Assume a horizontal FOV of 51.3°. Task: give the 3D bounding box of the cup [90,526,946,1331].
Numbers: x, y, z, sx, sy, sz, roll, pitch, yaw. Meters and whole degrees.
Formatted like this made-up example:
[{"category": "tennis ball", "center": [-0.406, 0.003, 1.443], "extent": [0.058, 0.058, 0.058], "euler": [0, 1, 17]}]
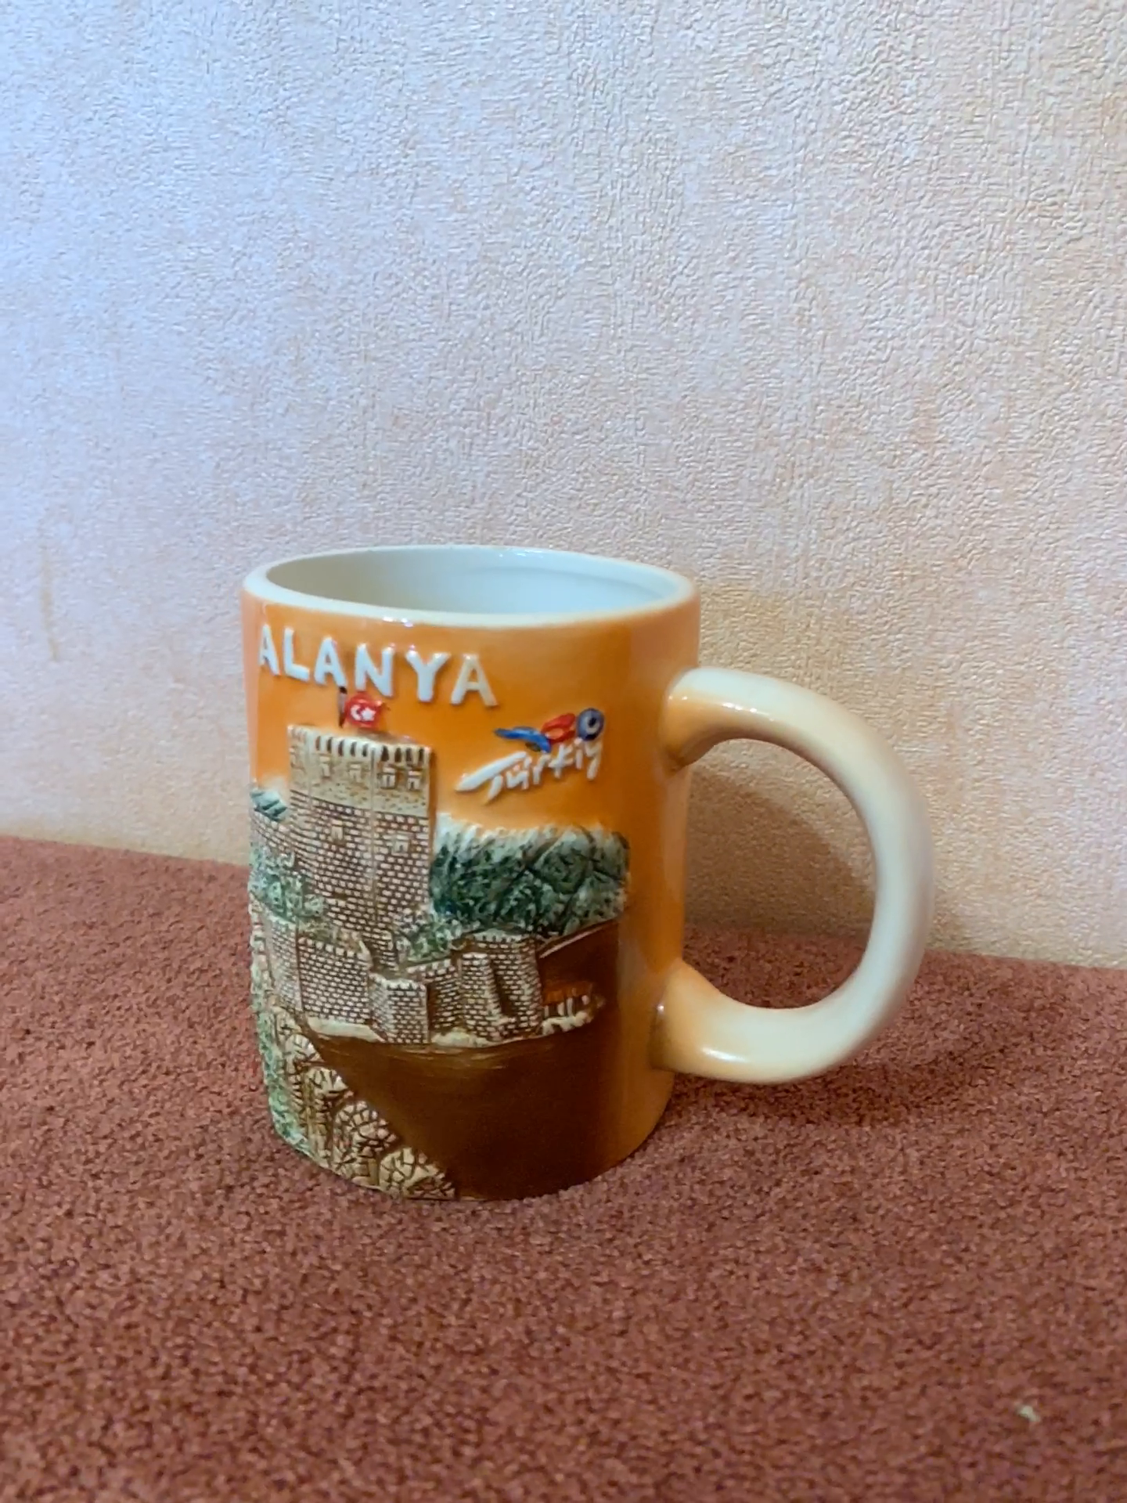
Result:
[{"category": "cup", "center": [0.000, 0.017, 0.212], "extent": [0.120, 0.098, 0.088], "euler": [6, 20, 19]}]
